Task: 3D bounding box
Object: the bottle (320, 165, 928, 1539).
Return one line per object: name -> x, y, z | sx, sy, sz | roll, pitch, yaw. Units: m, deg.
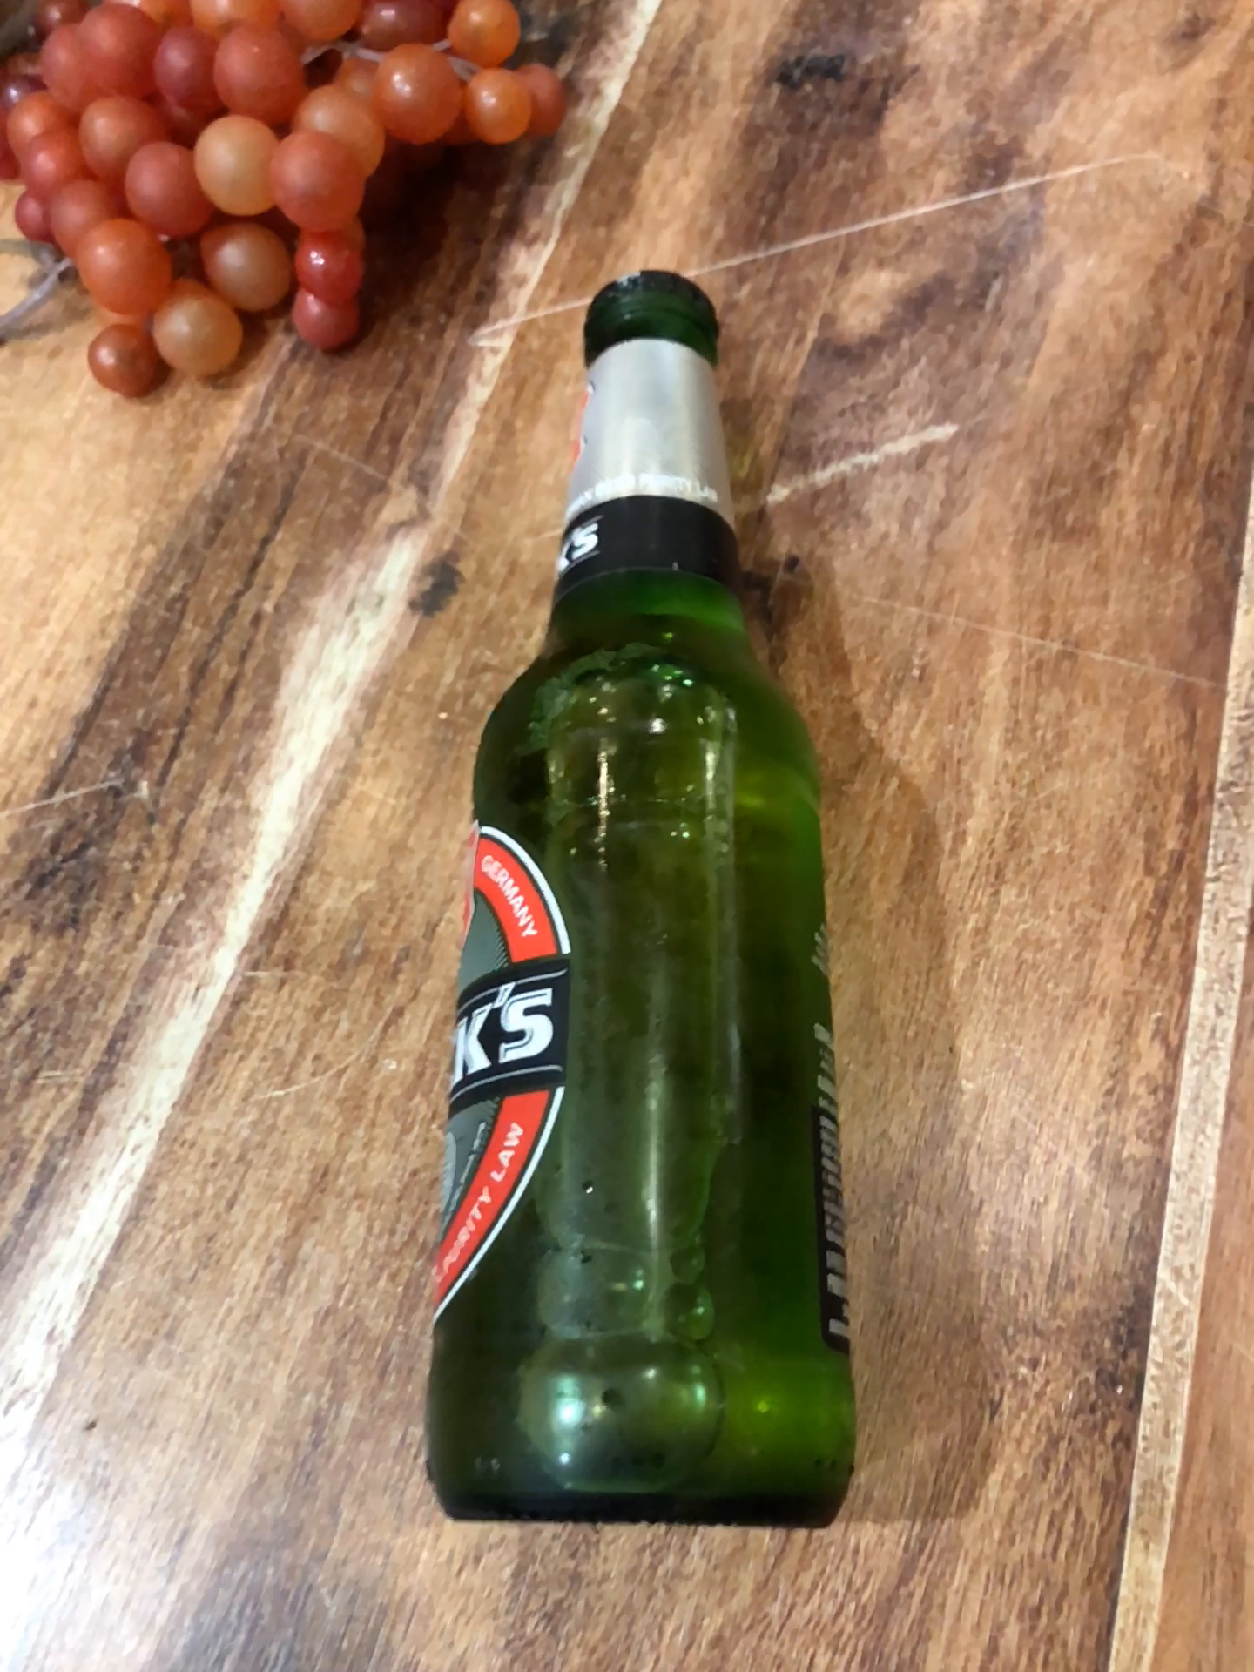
bottle -> 0.003, -0.009, 0.240 | 0.070, 0.060, 0.231 | -1, 63, 4
